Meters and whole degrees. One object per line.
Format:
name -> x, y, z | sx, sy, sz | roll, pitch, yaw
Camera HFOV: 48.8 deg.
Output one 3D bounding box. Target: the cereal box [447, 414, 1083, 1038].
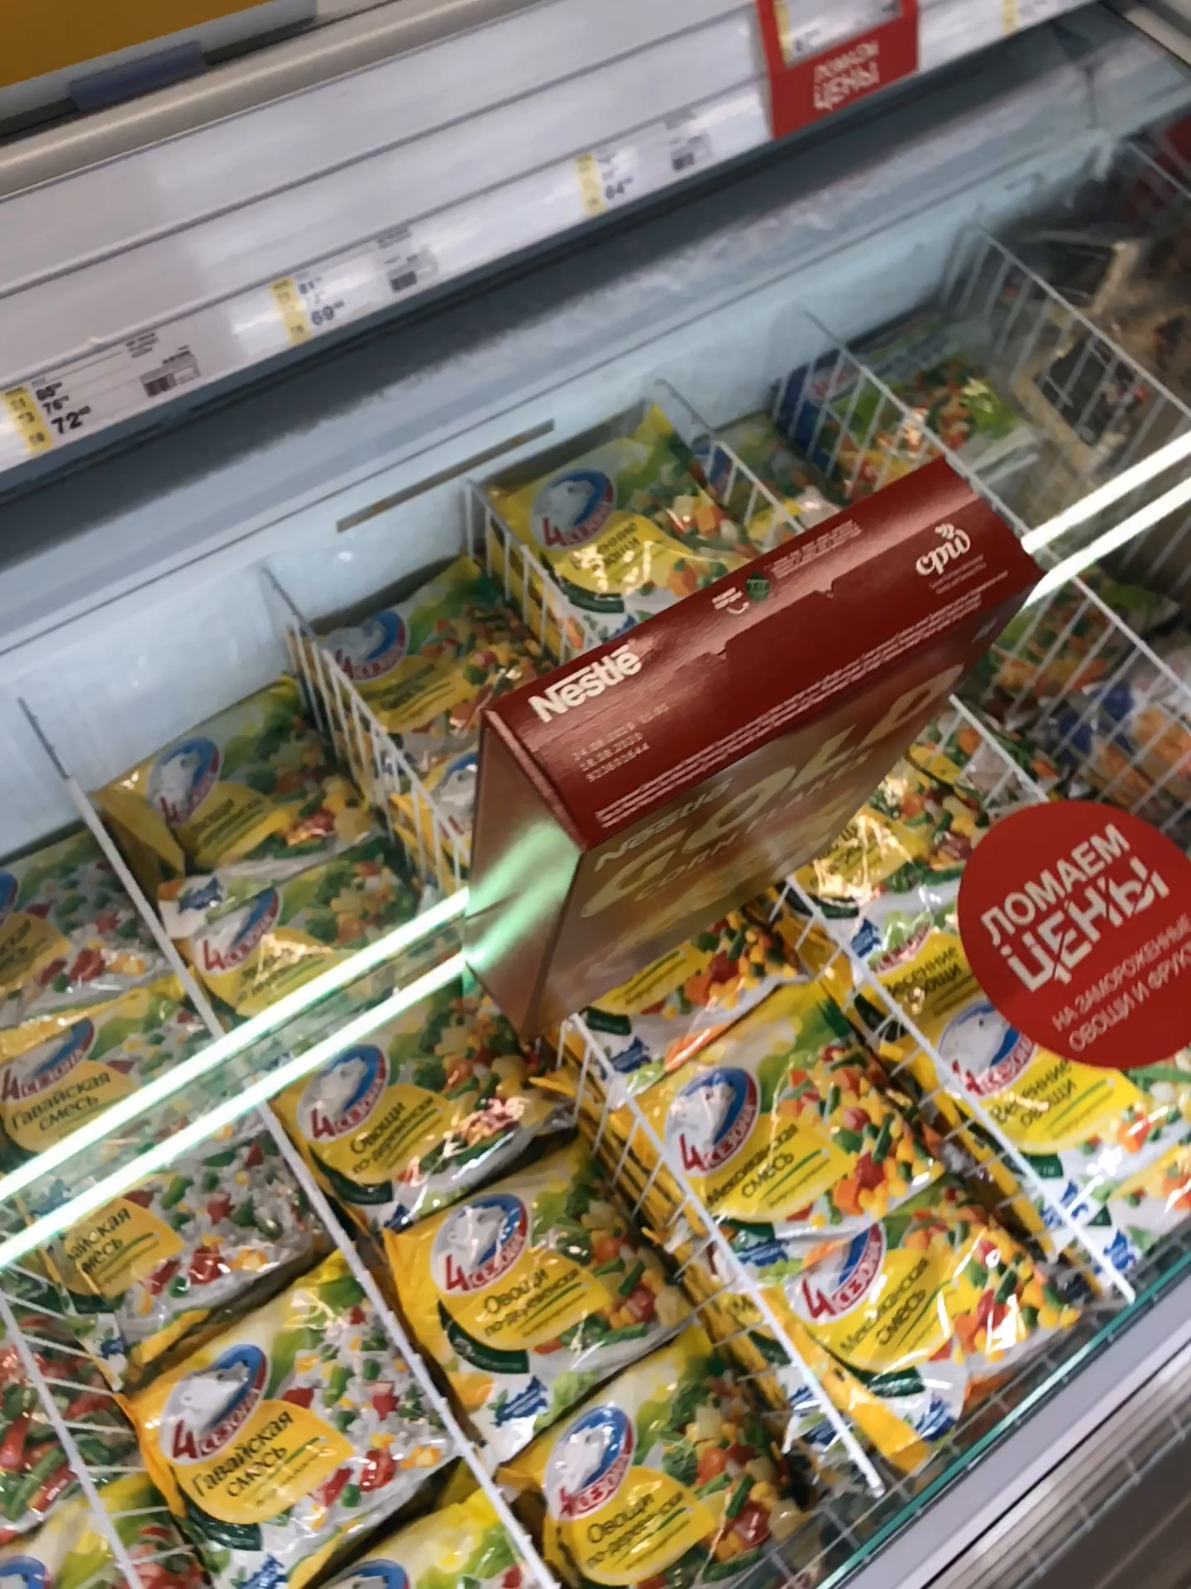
cereal box -> 0.047, -0.010, 0.538 | 0.210, 0.259, 0.060 | -30, 74, -18
